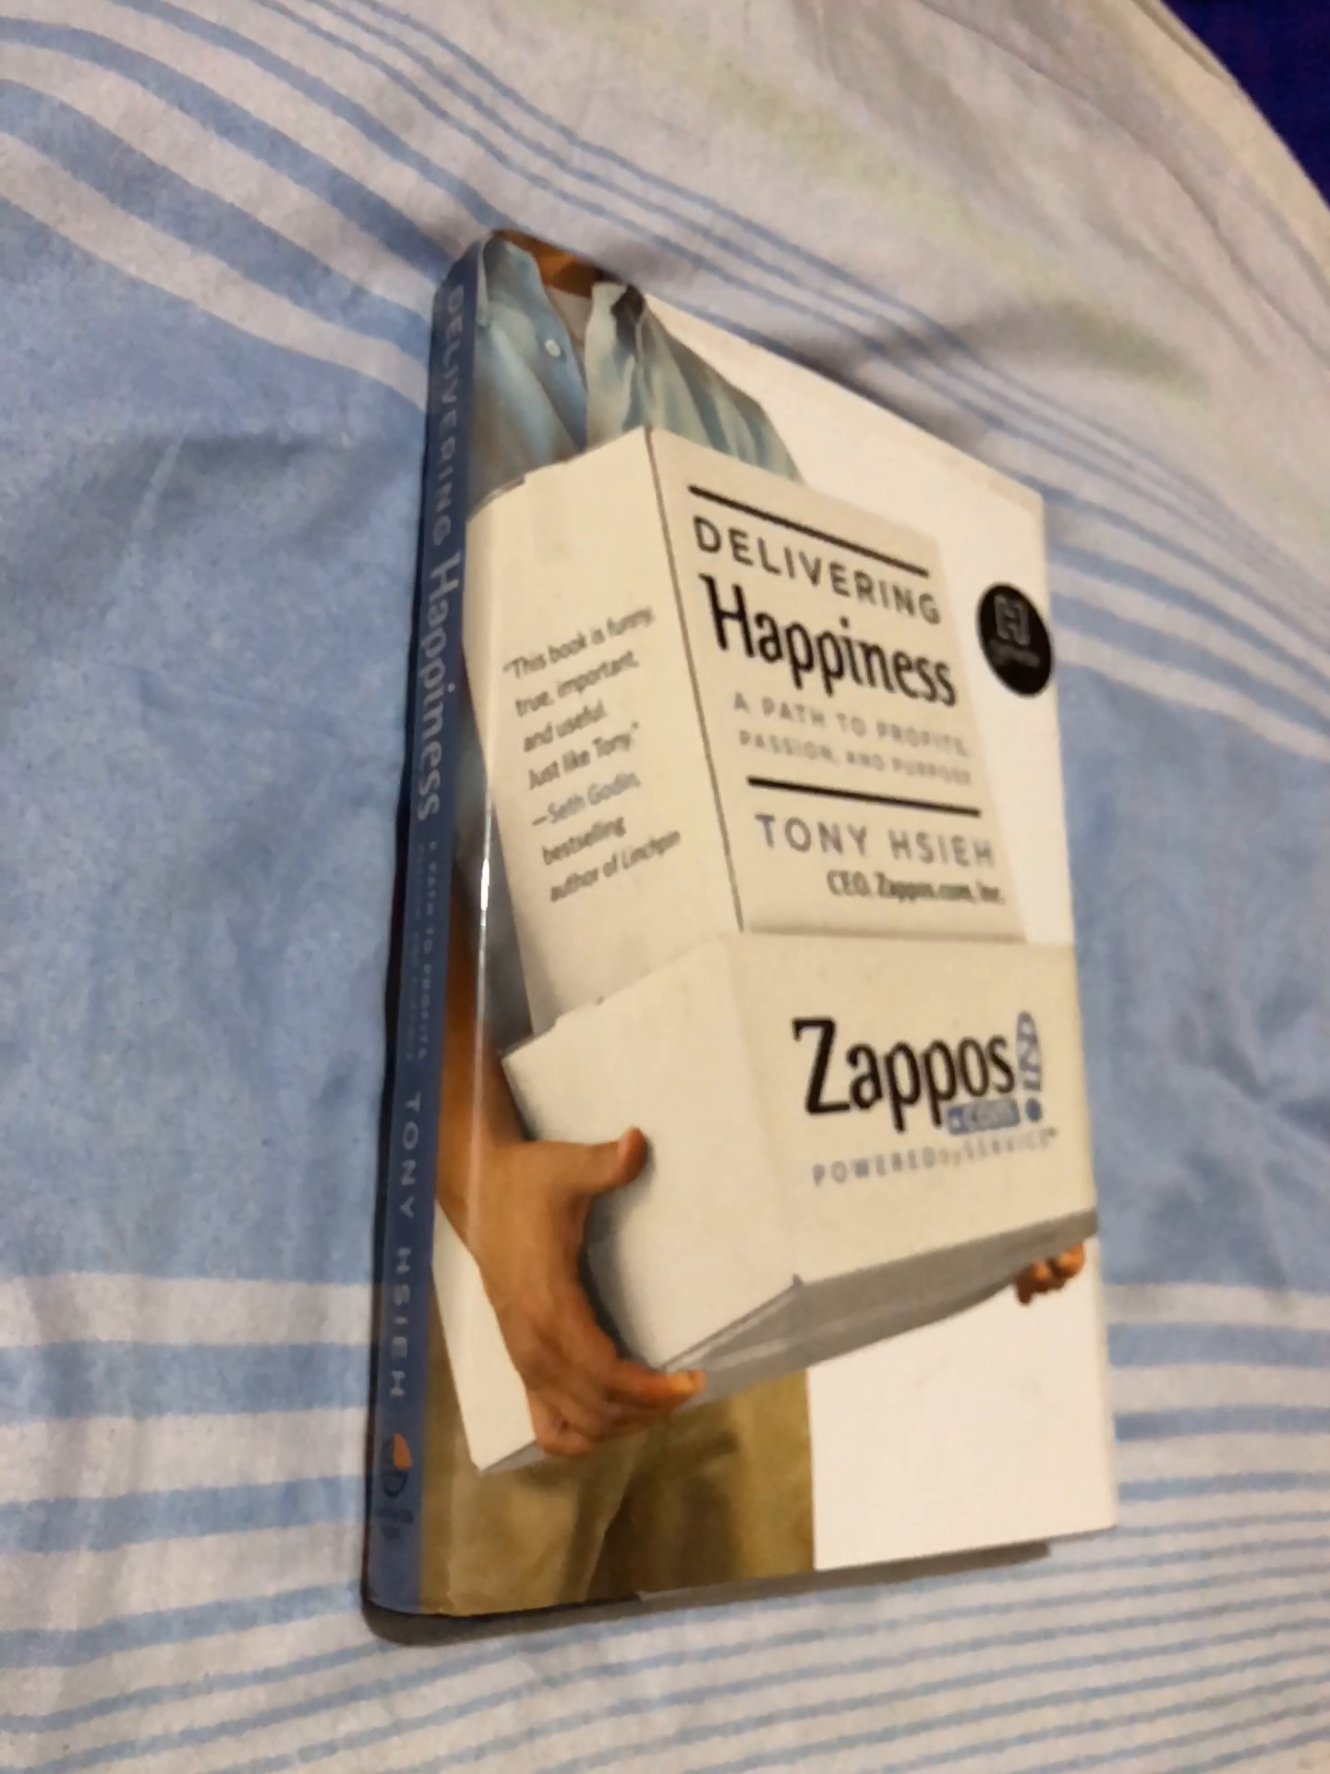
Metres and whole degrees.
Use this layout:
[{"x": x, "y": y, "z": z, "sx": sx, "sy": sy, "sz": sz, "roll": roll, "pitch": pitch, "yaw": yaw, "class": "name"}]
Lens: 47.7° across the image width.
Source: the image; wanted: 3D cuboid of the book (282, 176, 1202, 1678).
[{"x": 0.022, "y": 0.009, "z": 0.300, "sx": 0.171, "sy": 0.050, "sz": 0.240, "roll": 12, "pitch": 69, "yaw": -36, "class": "book"}]
